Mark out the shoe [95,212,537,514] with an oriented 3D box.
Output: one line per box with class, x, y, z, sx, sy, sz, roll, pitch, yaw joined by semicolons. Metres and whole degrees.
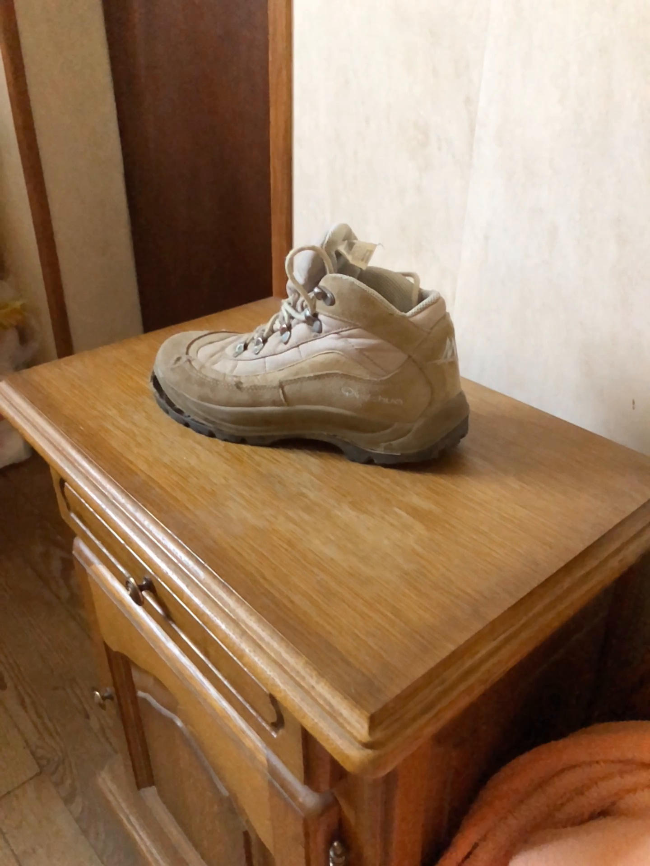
shoe;-0.007;-0.068;0.548;0.290;0.139;0.131;14;33;20
